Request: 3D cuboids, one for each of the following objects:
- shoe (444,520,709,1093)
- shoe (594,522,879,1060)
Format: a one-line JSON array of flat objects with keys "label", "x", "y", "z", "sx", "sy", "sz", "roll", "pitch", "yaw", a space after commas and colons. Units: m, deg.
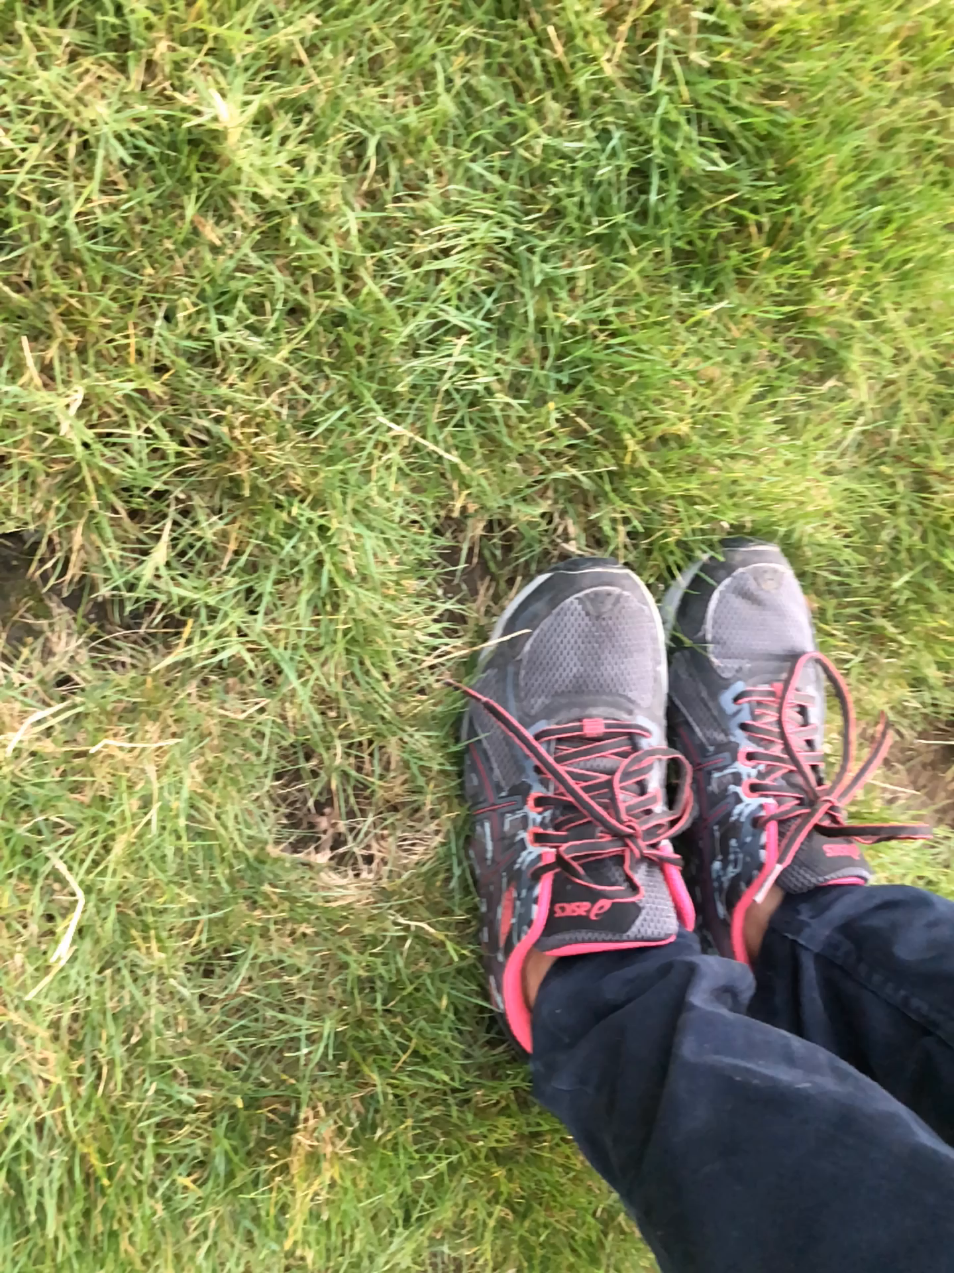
[{"label": "shoe", "x": 0.044, "y": 0.075, "z": 0.522, "sx": 0.088, "sy": 0.120, "sz": 0.245, "roll": 1, "pitch": 87, "yaw": -19}, {"label": "shoe", "x": 0.134, "y": 0.073, "z": 0.560, "sx": 0.090, "sy": 0.120, "sz": 0.250, "roll": 2, "pitch": 89, "yaw": -22}]
